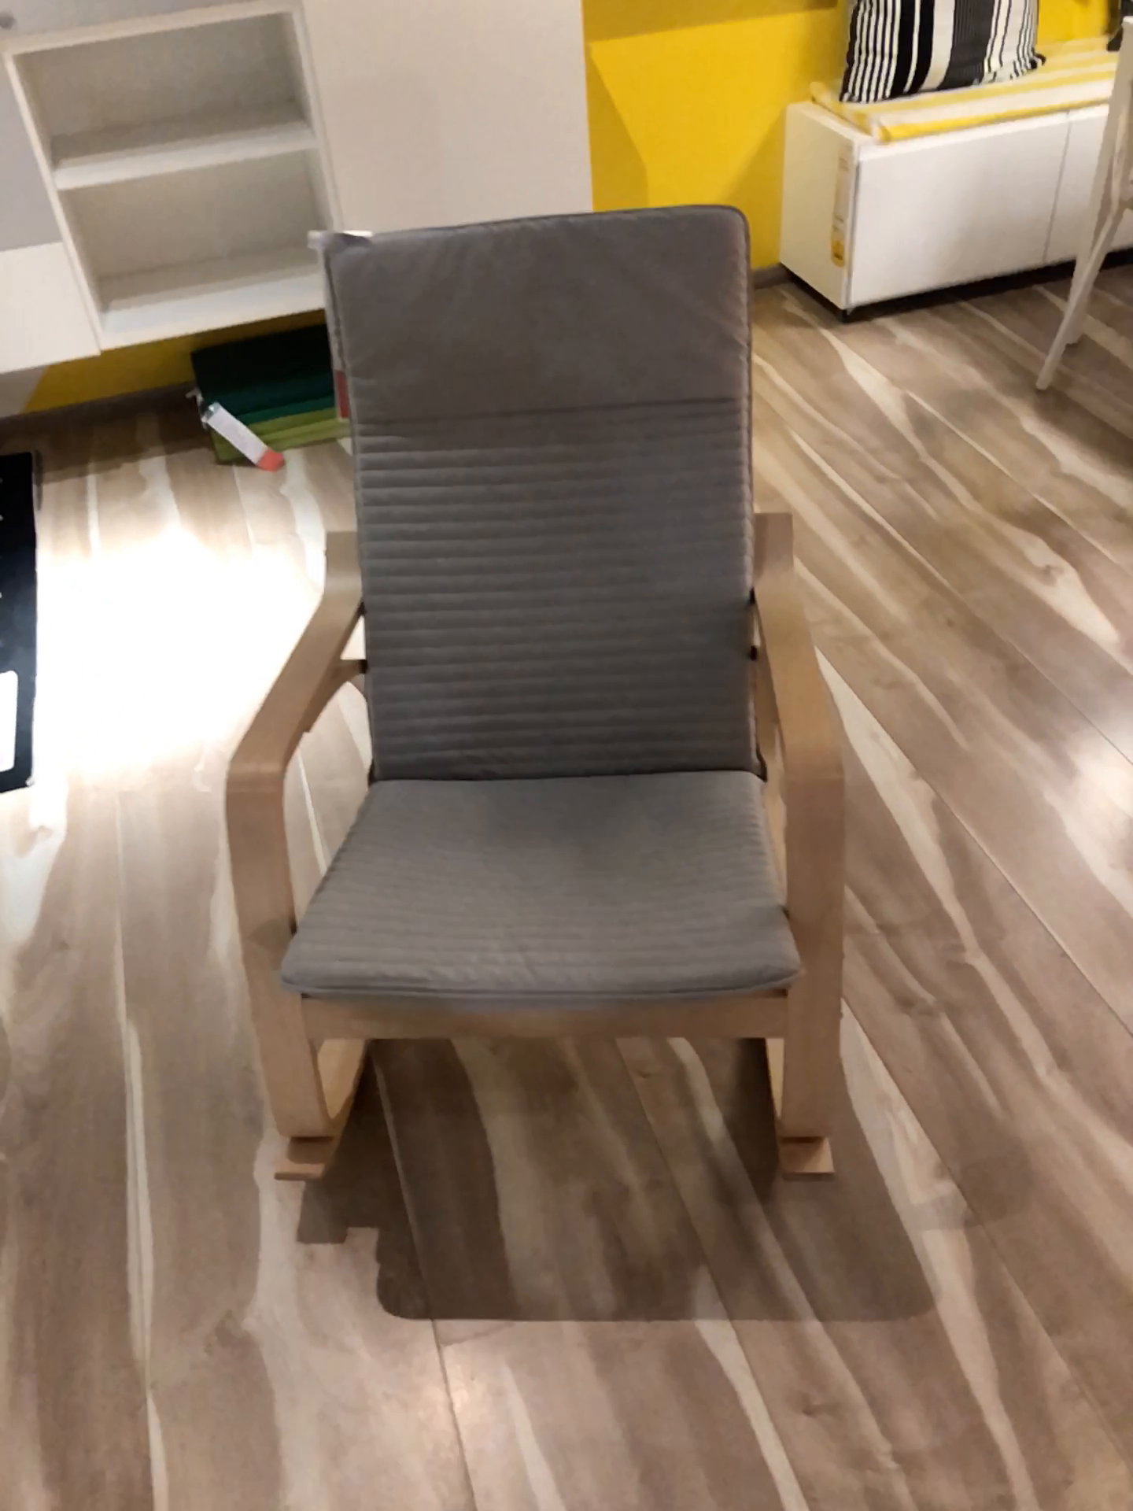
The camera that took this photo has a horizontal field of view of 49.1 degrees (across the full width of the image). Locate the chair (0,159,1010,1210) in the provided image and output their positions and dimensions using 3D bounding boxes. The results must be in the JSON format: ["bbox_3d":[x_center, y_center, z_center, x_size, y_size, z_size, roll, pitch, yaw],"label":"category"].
[{"bbox_3d":[-0.034,-0.049,1.426,0.750,0.943,0.705,-2,42,4],"label":"chair"}]
